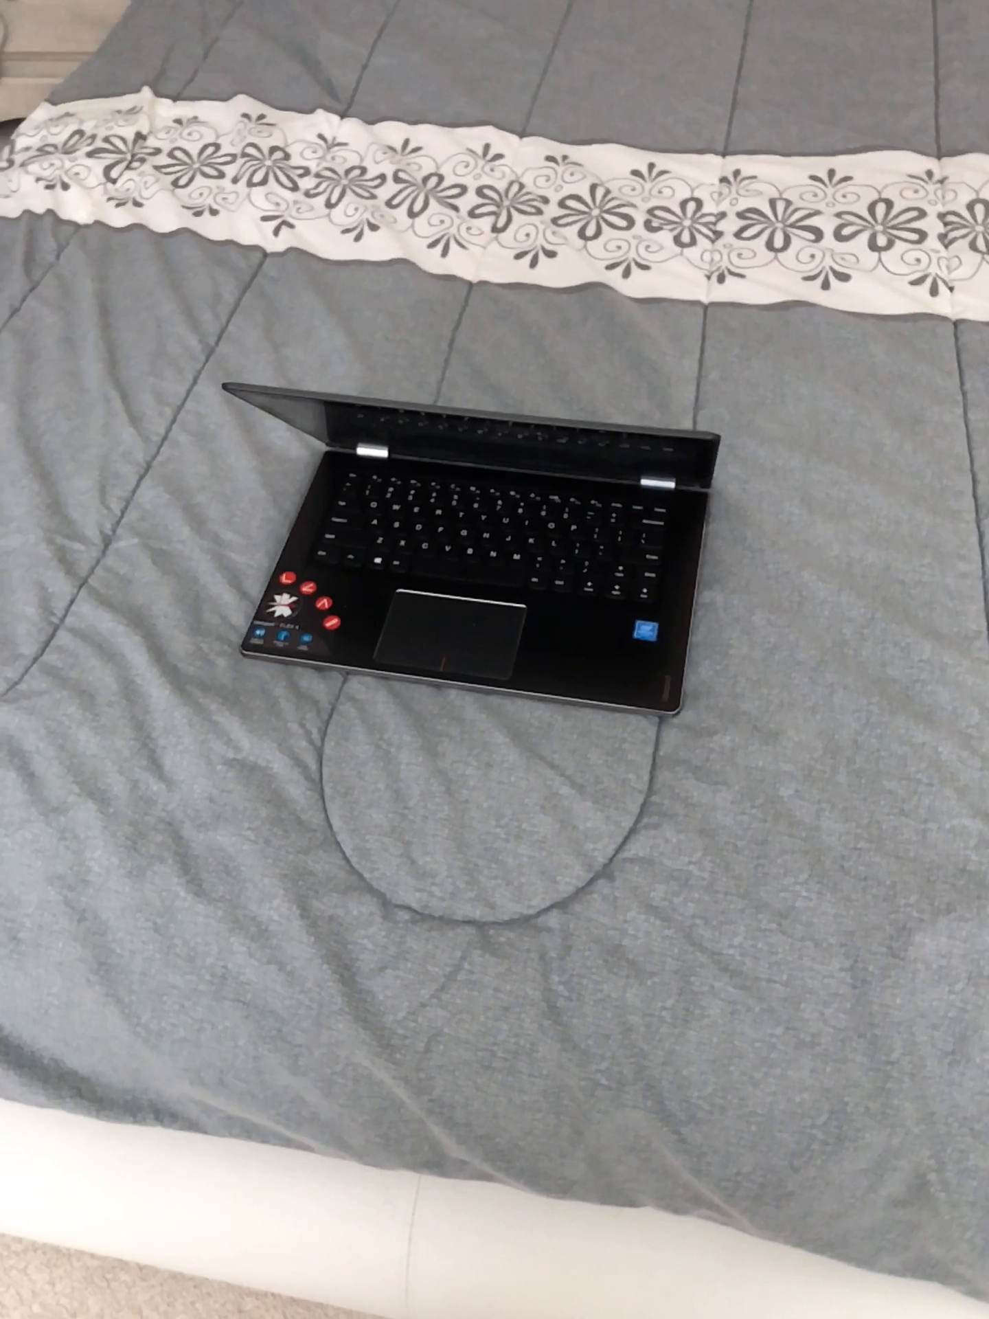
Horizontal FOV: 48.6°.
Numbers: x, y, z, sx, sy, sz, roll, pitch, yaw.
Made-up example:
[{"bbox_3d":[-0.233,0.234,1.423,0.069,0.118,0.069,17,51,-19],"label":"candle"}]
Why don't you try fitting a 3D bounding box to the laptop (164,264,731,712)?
[{"bbox_3d":[-0.013,-0.120,0.737,0.304,0.167,0.215,8,54,10],"label":"laptop"}]
